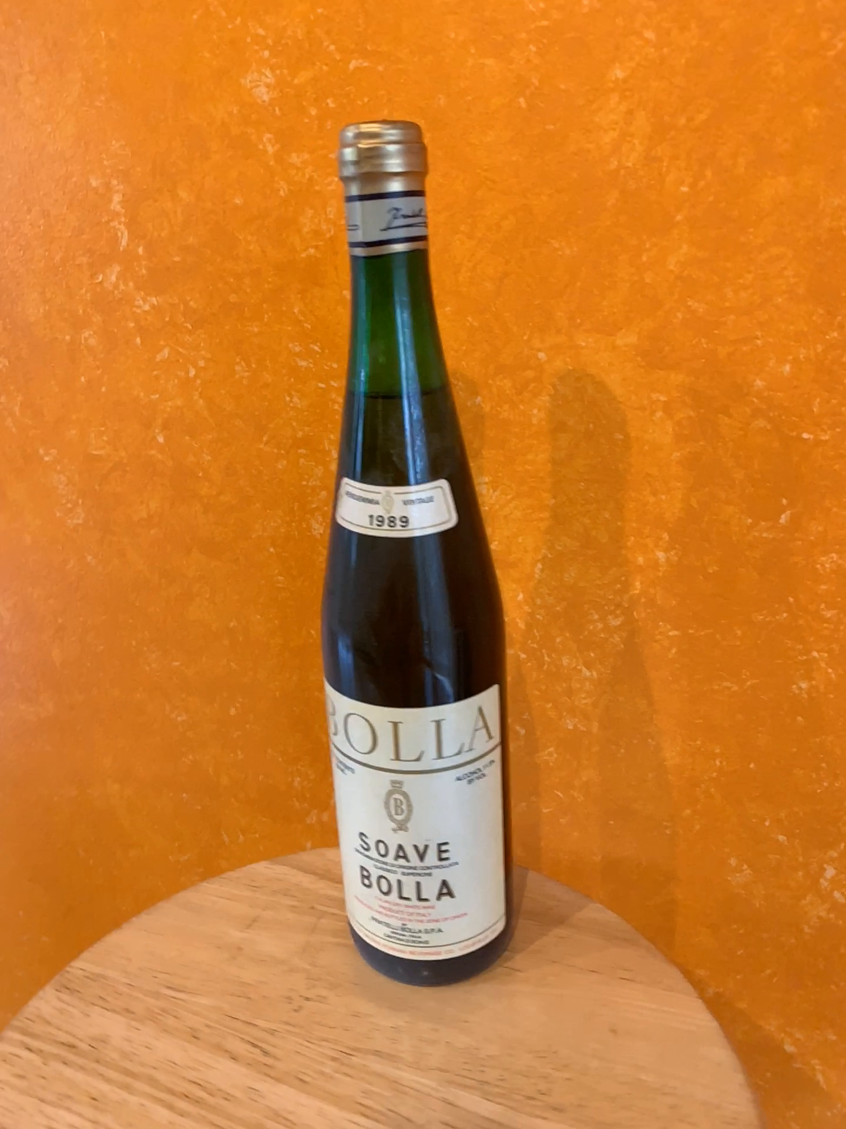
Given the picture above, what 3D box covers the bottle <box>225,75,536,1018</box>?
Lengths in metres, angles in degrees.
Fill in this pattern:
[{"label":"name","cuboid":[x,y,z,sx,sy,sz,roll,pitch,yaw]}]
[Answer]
[{"label":"bottle","cuboid":[-0.003,0.010,0.340,0.080,0.338,0.070,3,20,16]}]
